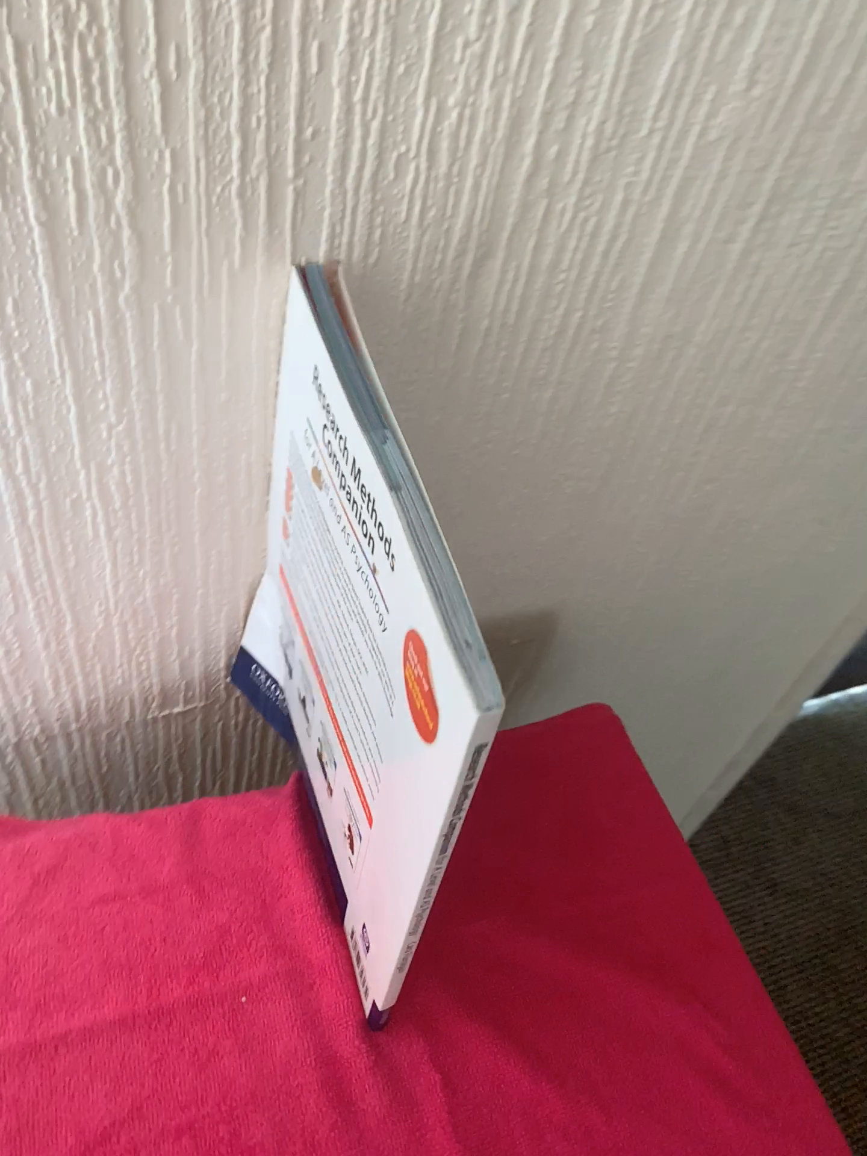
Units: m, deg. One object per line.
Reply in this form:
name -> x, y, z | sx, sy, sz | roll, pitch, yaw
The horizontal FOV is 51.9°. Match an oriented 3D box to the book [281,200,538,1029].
book -> -0.037, 0.029, 0.404 | 0.020, 0.287, 0.252 | -8, 51, -16
